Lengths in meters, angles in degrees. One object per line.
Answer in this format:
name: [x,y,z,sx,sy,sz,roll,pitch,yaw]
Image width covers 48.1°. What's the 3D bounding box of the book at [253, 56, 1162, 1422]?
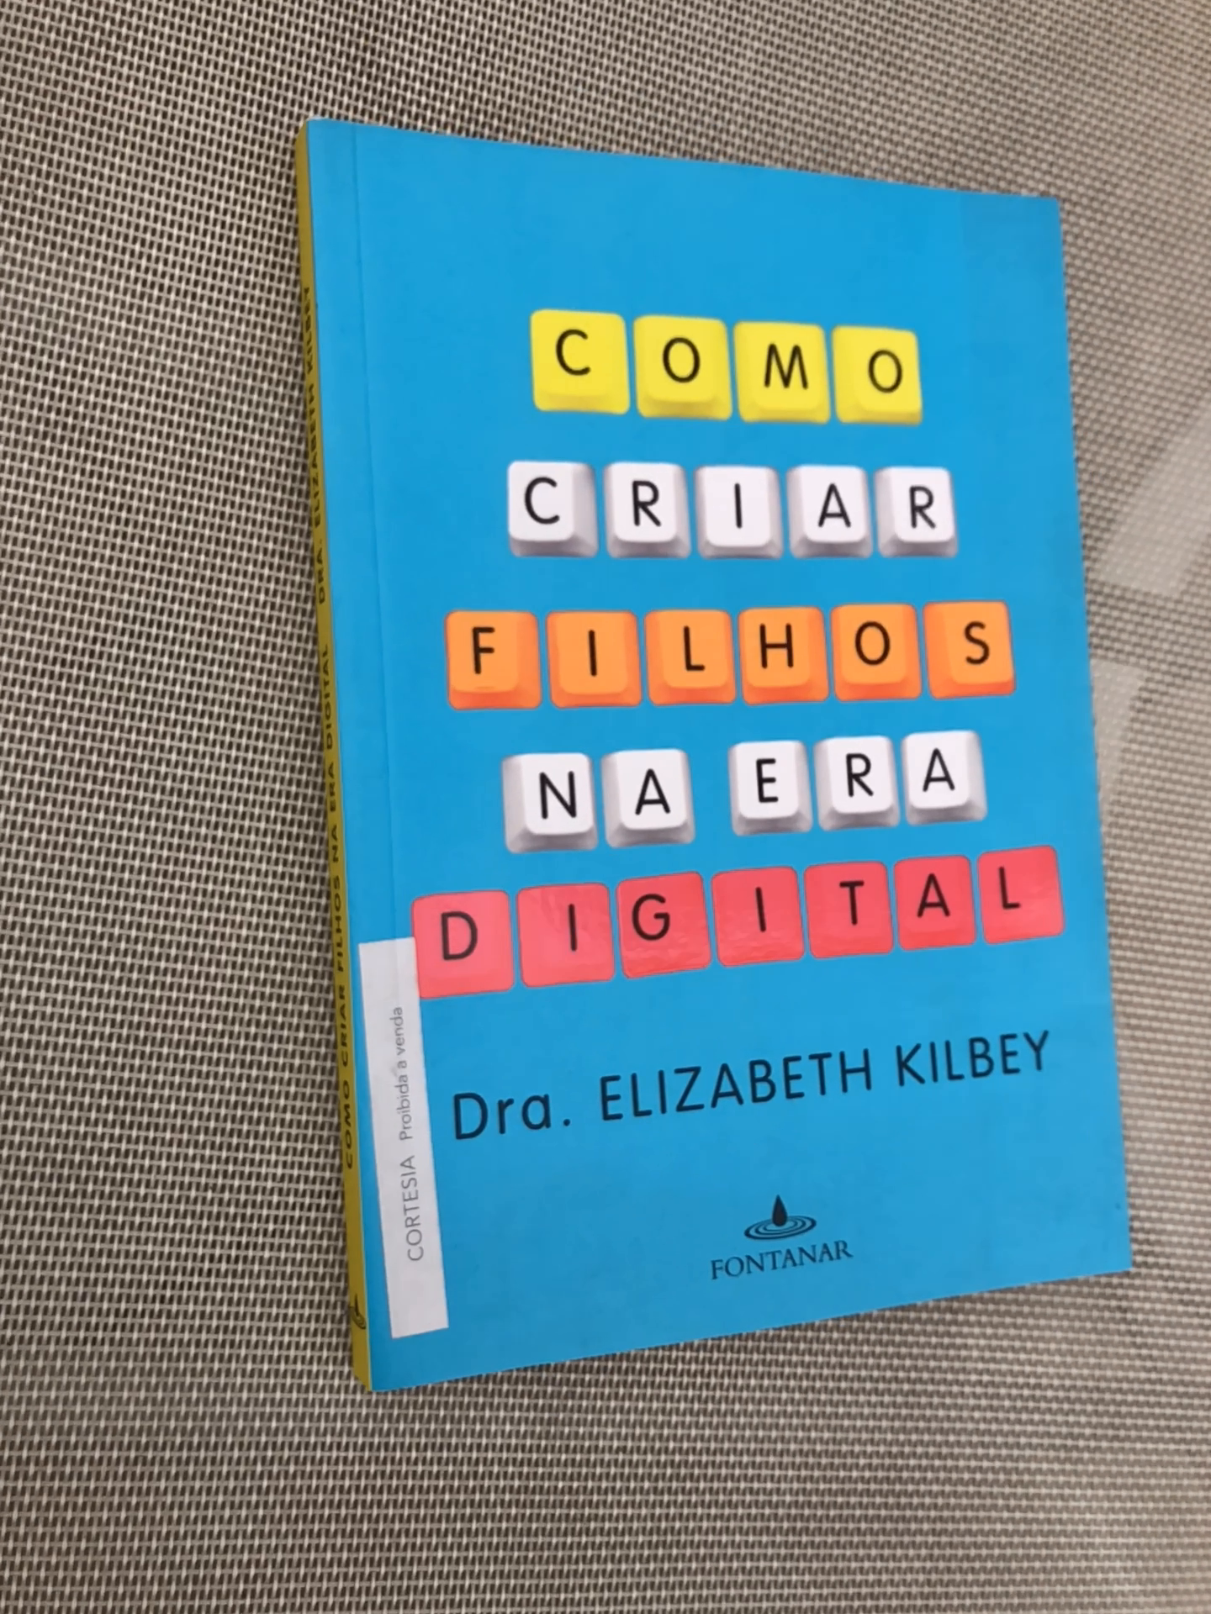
book: [0.023,-0.017,0.260,0.163,0.020,0.228,-3,87,-18]
